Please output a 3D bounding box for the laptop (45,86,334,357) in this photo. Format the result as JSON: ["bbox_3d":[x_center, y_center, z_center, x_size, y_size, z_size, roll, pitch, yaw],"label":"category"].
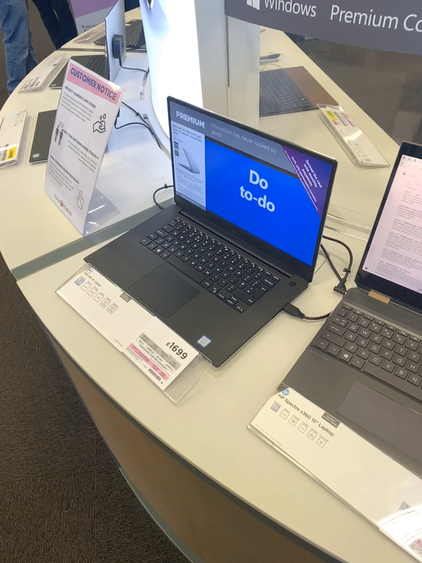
[{"bbox_3d":[-0.034,-0.121,0.704,0.352,0.224,0.254,33,56,31],"label":"laptop"}]
